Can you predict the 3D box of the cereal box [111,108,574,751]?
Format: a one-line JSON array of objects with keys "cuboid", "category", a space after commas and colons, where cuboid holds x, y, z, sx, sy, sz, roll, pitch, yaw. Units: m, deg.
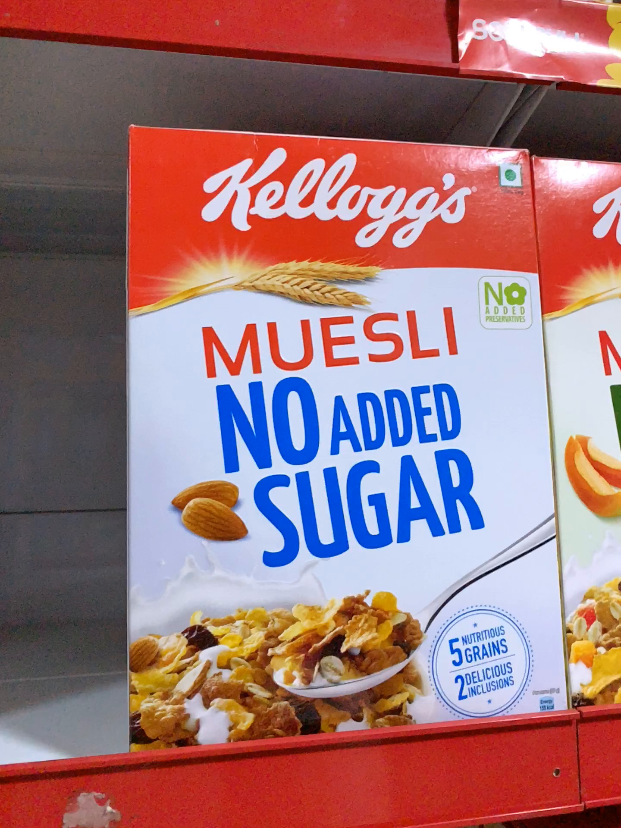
[{"cuboid": [0.011, 0.001, 0.283, 0.180, 0.241, 0.050, 0, -6, -10], "category": "cereal box"}]
